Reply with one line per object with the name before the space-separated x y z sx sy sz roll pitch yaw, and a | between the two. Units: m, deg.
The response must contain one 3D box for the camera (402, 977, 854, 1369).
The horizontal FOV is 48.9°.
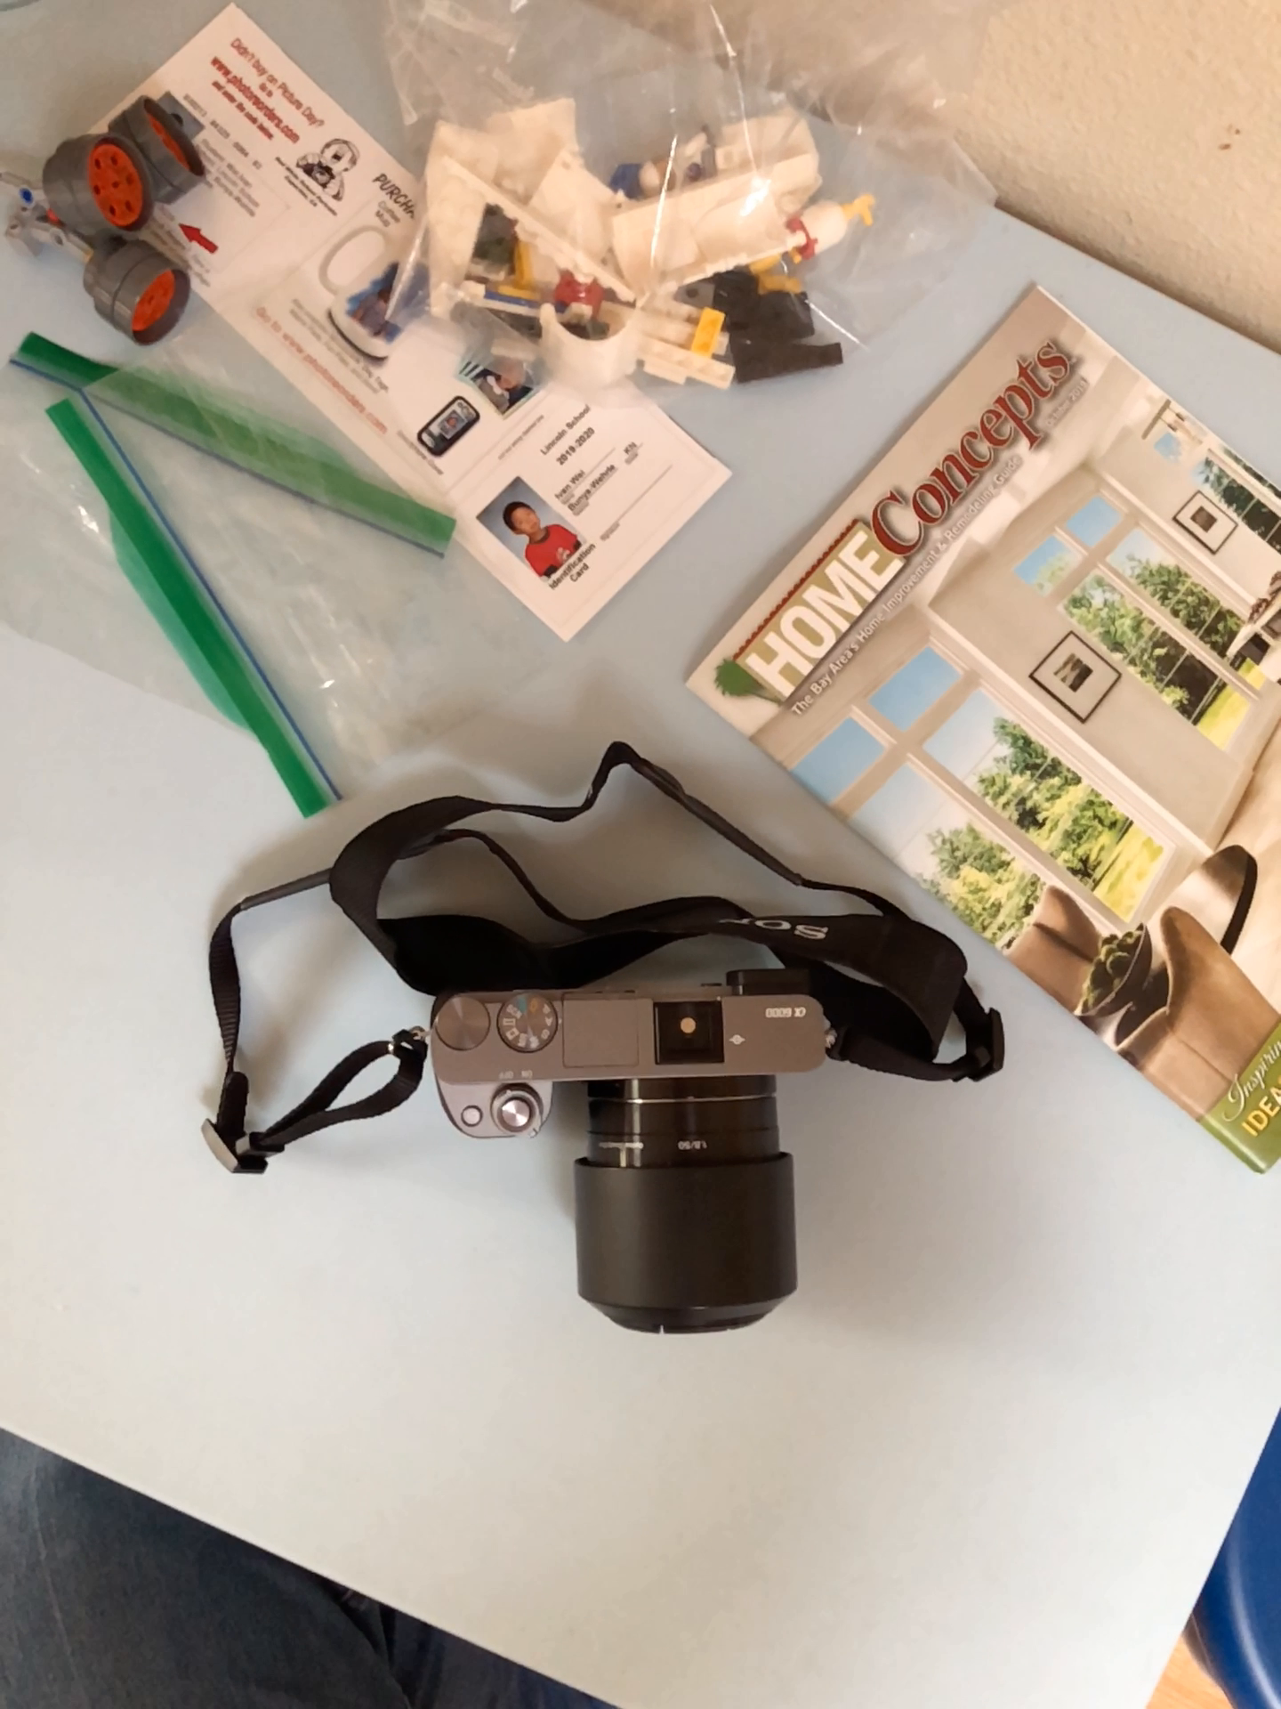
camera | -0.006 0.096 0.447 0.130 0.070 0.110 0 82 -4
